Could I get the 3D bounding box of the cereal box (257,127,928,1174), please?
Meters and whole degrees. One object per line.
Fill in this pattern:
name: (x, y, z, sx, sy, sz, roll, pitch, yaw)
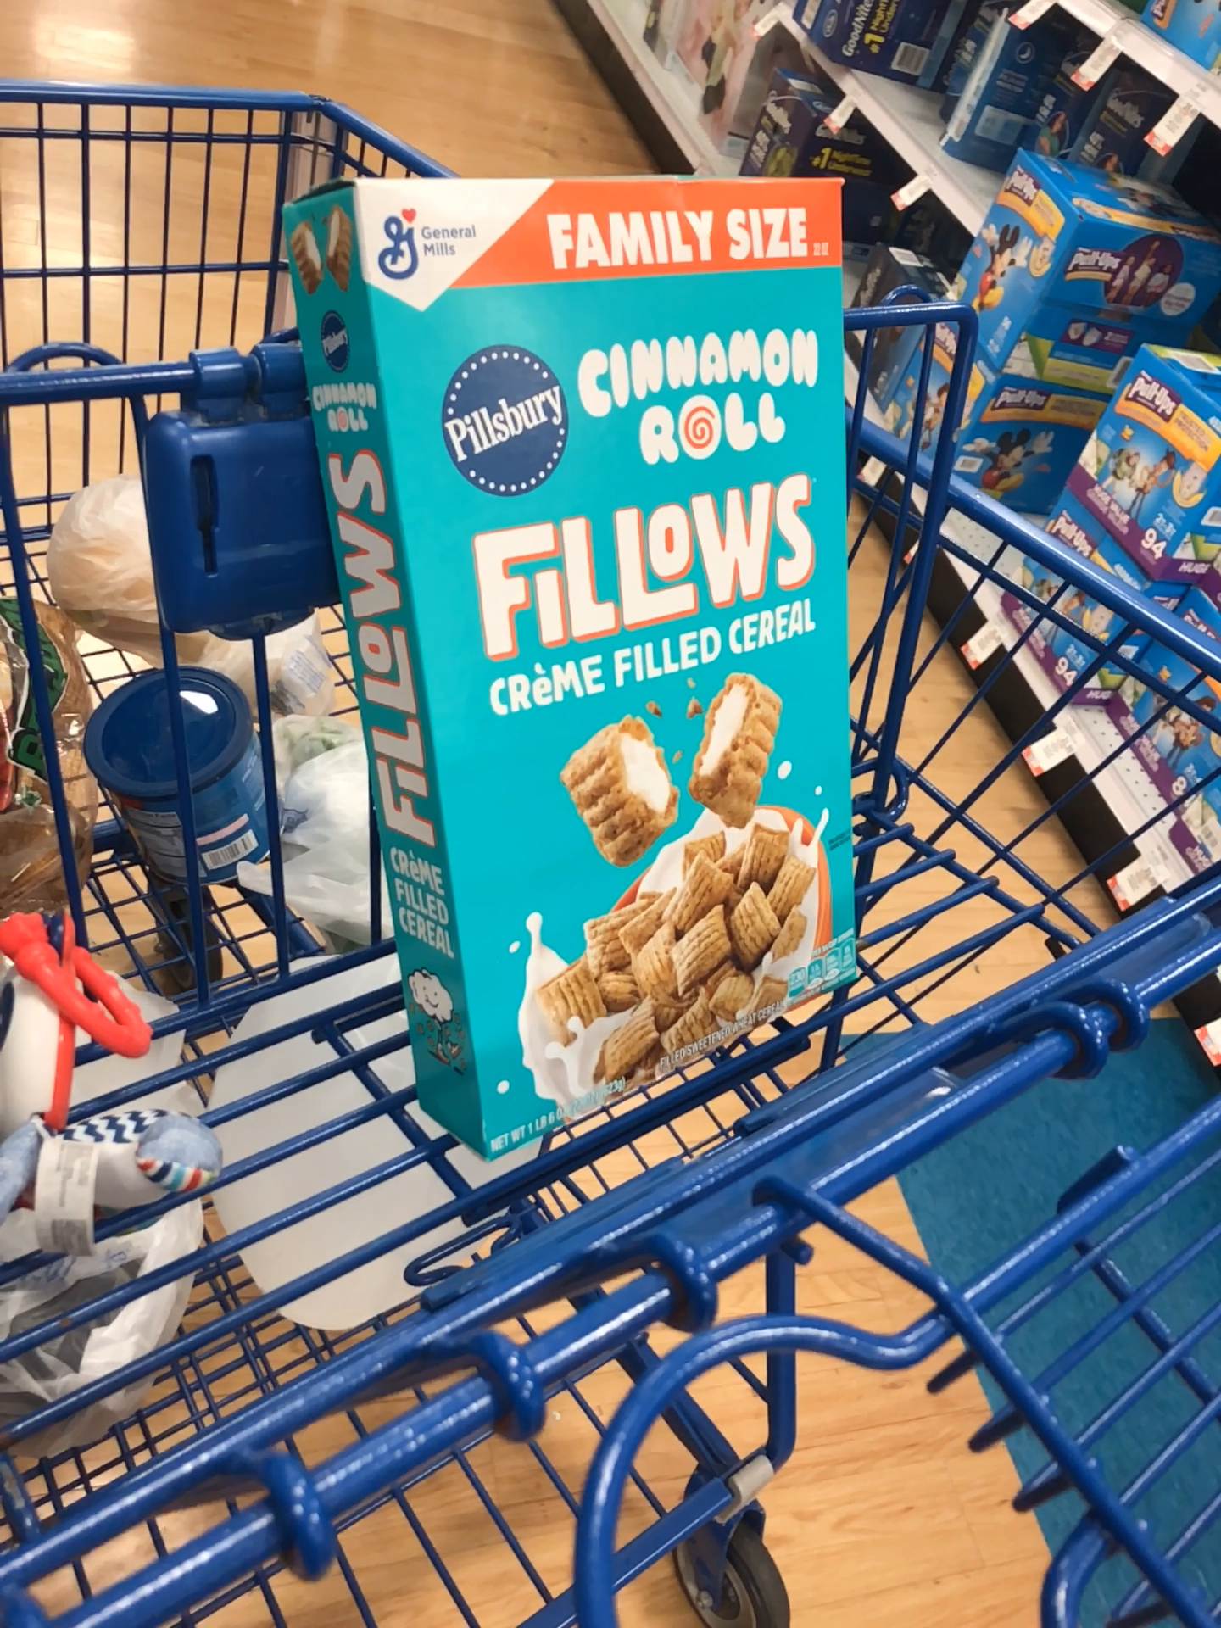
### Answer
cereal box: (0.015, -0.060, 0.452, 0.211, 0.290, 0.060, -19, 22, -37)
